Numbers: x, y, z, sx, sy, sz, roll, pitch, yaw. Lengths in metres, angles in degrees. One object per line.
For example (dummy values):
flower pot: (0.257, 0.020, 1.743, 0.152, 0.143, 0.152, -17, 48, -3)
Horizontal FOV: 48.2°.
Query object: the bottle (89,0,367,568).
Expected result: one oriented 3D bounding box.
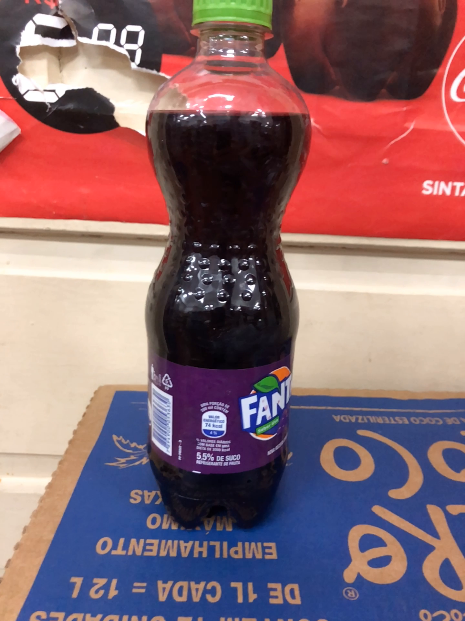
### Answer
bottle: (-0.005, -0.020, 0.230, 0.070, 0.229, 0.080, 16, 22, 37)
